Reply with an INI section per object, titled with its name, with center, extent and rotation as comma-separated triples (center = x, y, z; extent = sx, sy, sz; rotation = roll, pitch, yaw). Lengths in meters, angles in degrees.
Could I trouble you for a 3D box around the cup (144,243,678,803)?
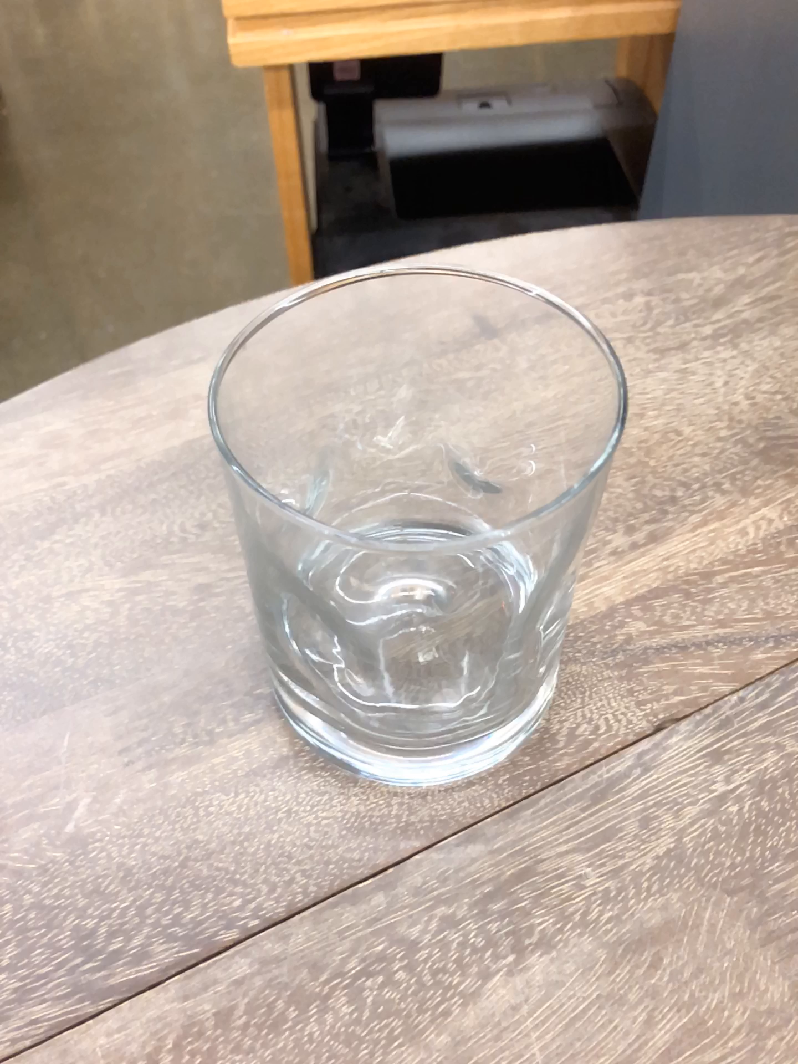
[cup]
center = 0.003, 0.002, 0.205
extent = 0.084, 0.098, 0.084
rotation = -1, 50, 1
